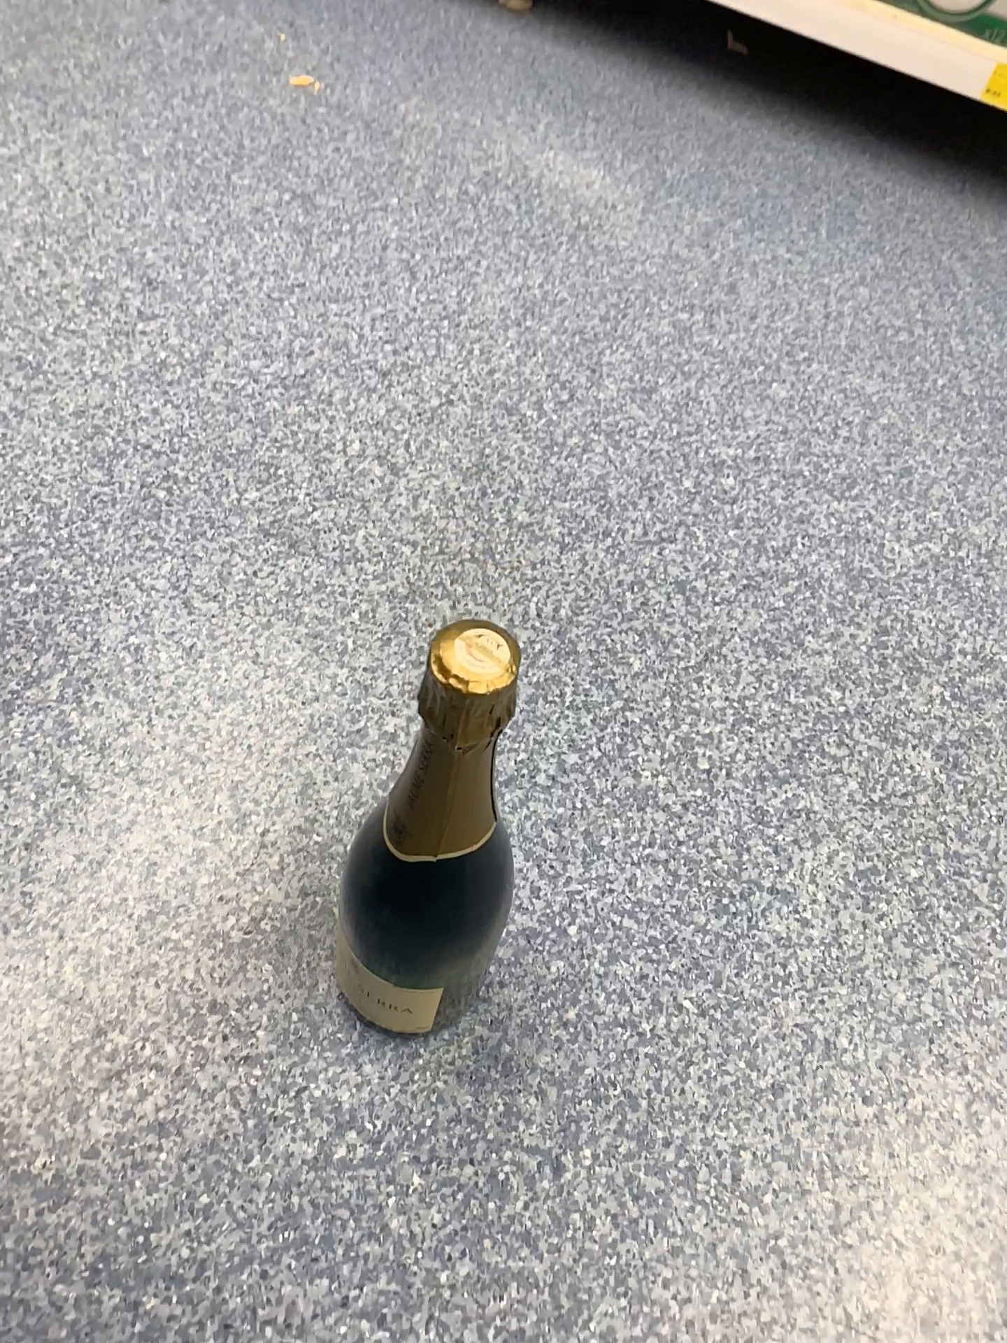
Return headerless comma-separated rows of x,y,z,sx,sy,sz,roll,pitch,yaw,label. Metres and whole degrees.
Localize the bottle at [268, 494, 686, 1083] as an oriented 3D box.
-0.029,0.075,0.476,0.105,0.292,0.104,5,54,-7,bottle
